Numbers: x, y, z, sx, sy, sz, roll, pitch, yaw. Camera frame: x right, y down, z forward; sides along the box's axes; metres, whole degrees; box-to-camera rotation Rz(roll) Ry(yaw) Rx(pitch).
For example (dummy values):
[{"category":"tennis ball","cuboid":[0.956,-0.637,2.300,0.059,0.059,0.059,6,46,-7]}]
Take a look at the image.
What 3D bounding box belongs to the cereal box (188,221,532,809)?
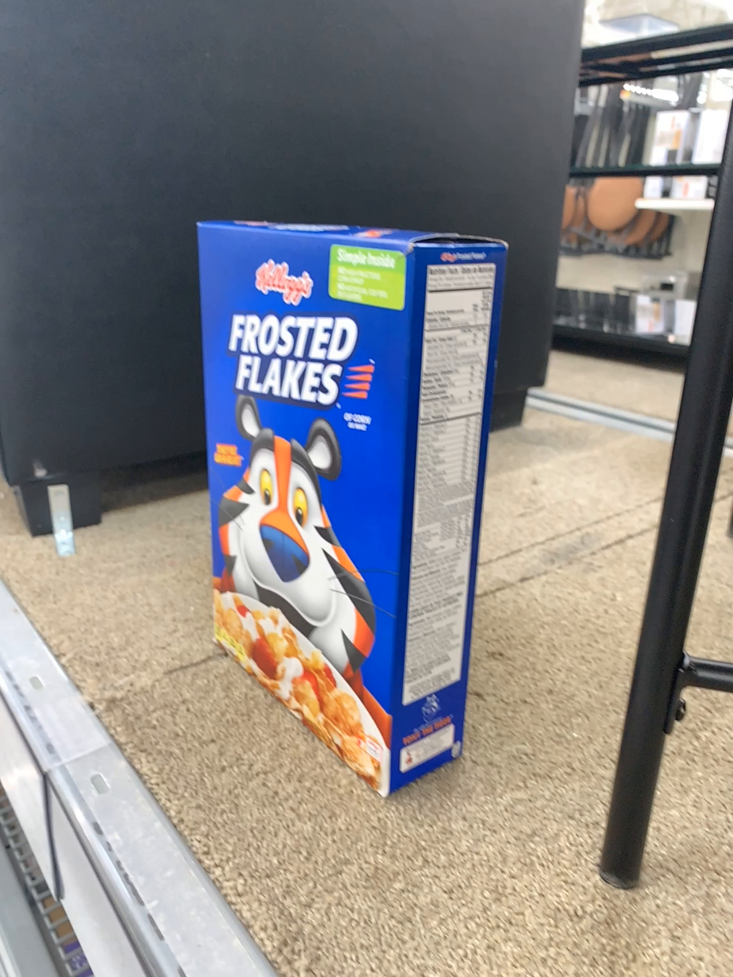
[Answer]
[{"category":"cereal box","cuboid":[-0.019,-0.003,0.451,0.070,0.289,0.211,-14,25,-35]}]
